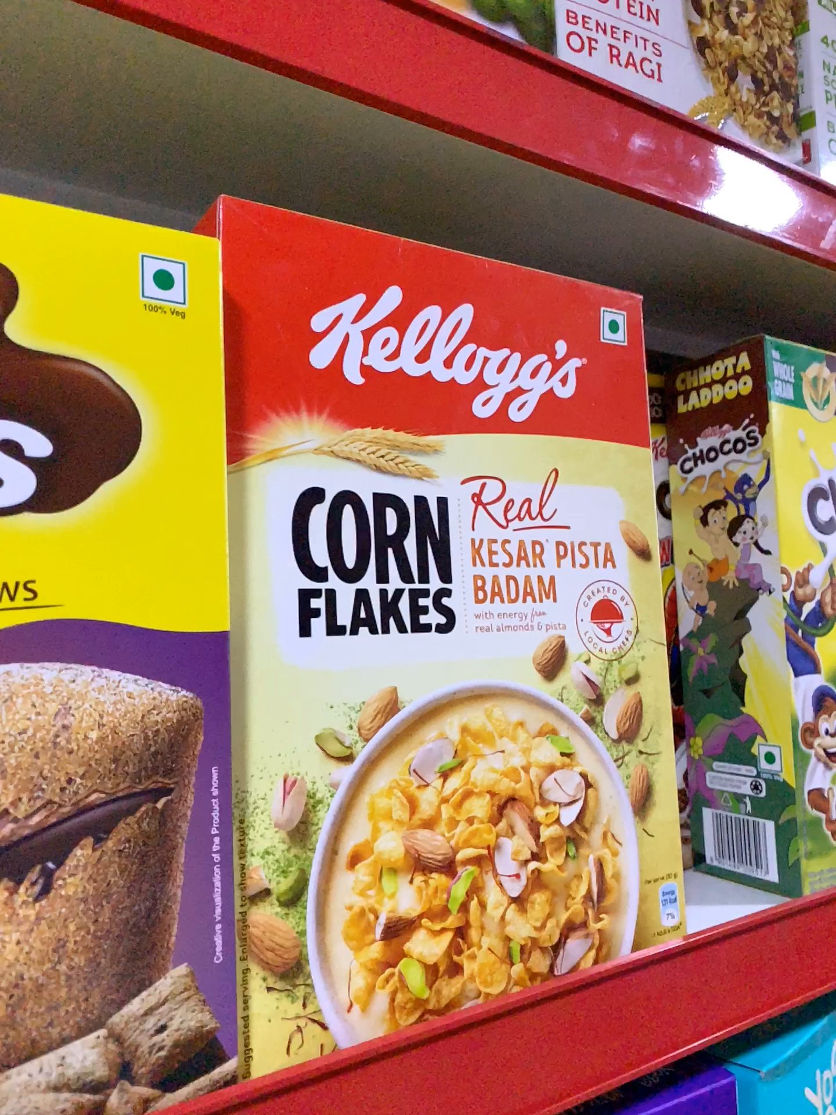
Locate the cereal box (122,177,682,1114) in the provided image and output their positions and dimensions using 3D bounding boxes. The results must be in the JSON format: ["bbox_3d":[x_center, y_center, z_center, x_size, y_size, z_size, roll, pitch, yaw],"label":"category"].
[{"bbox_3d":[-0.003,0.023,0.308,0.180,0.251,0.070,2,-7,-33],"label":"cereal box"}]
